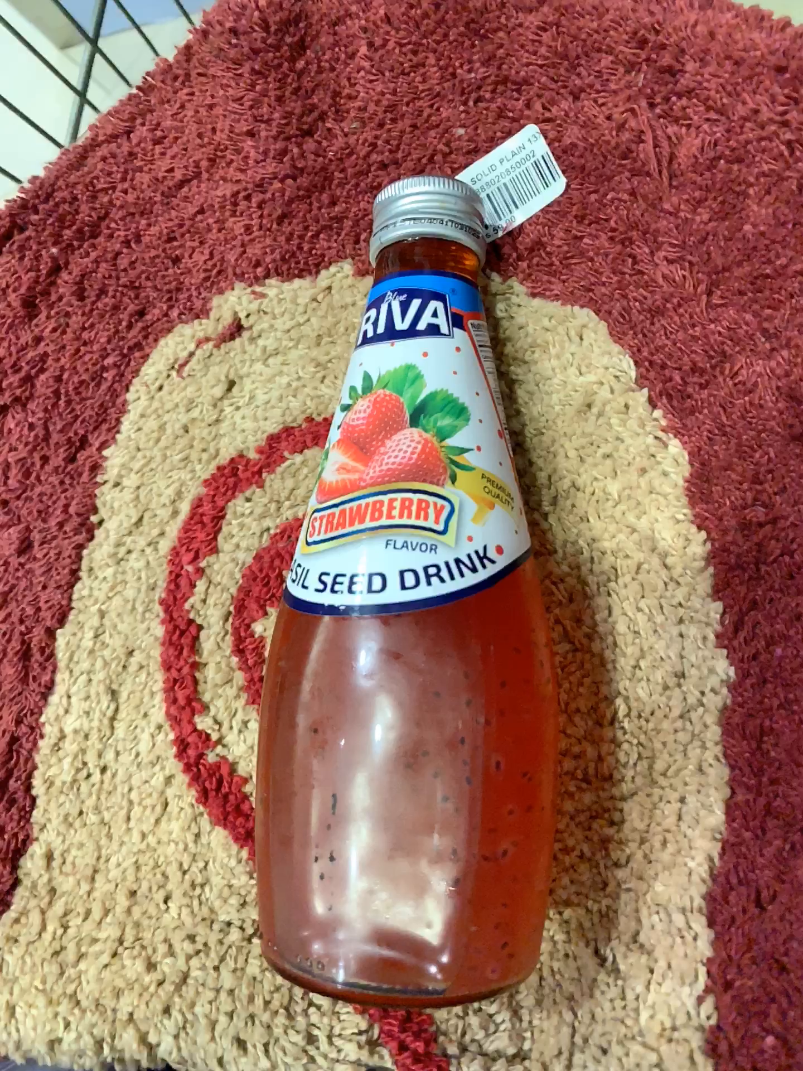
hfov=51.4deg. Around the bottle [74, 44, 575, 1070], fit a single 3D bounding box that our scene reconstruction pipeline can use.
[{"bbox_3d":[-0.007,-0.001,0.163,0.070,0.050,0.160,1,79,19],"label":"bottle"}]
